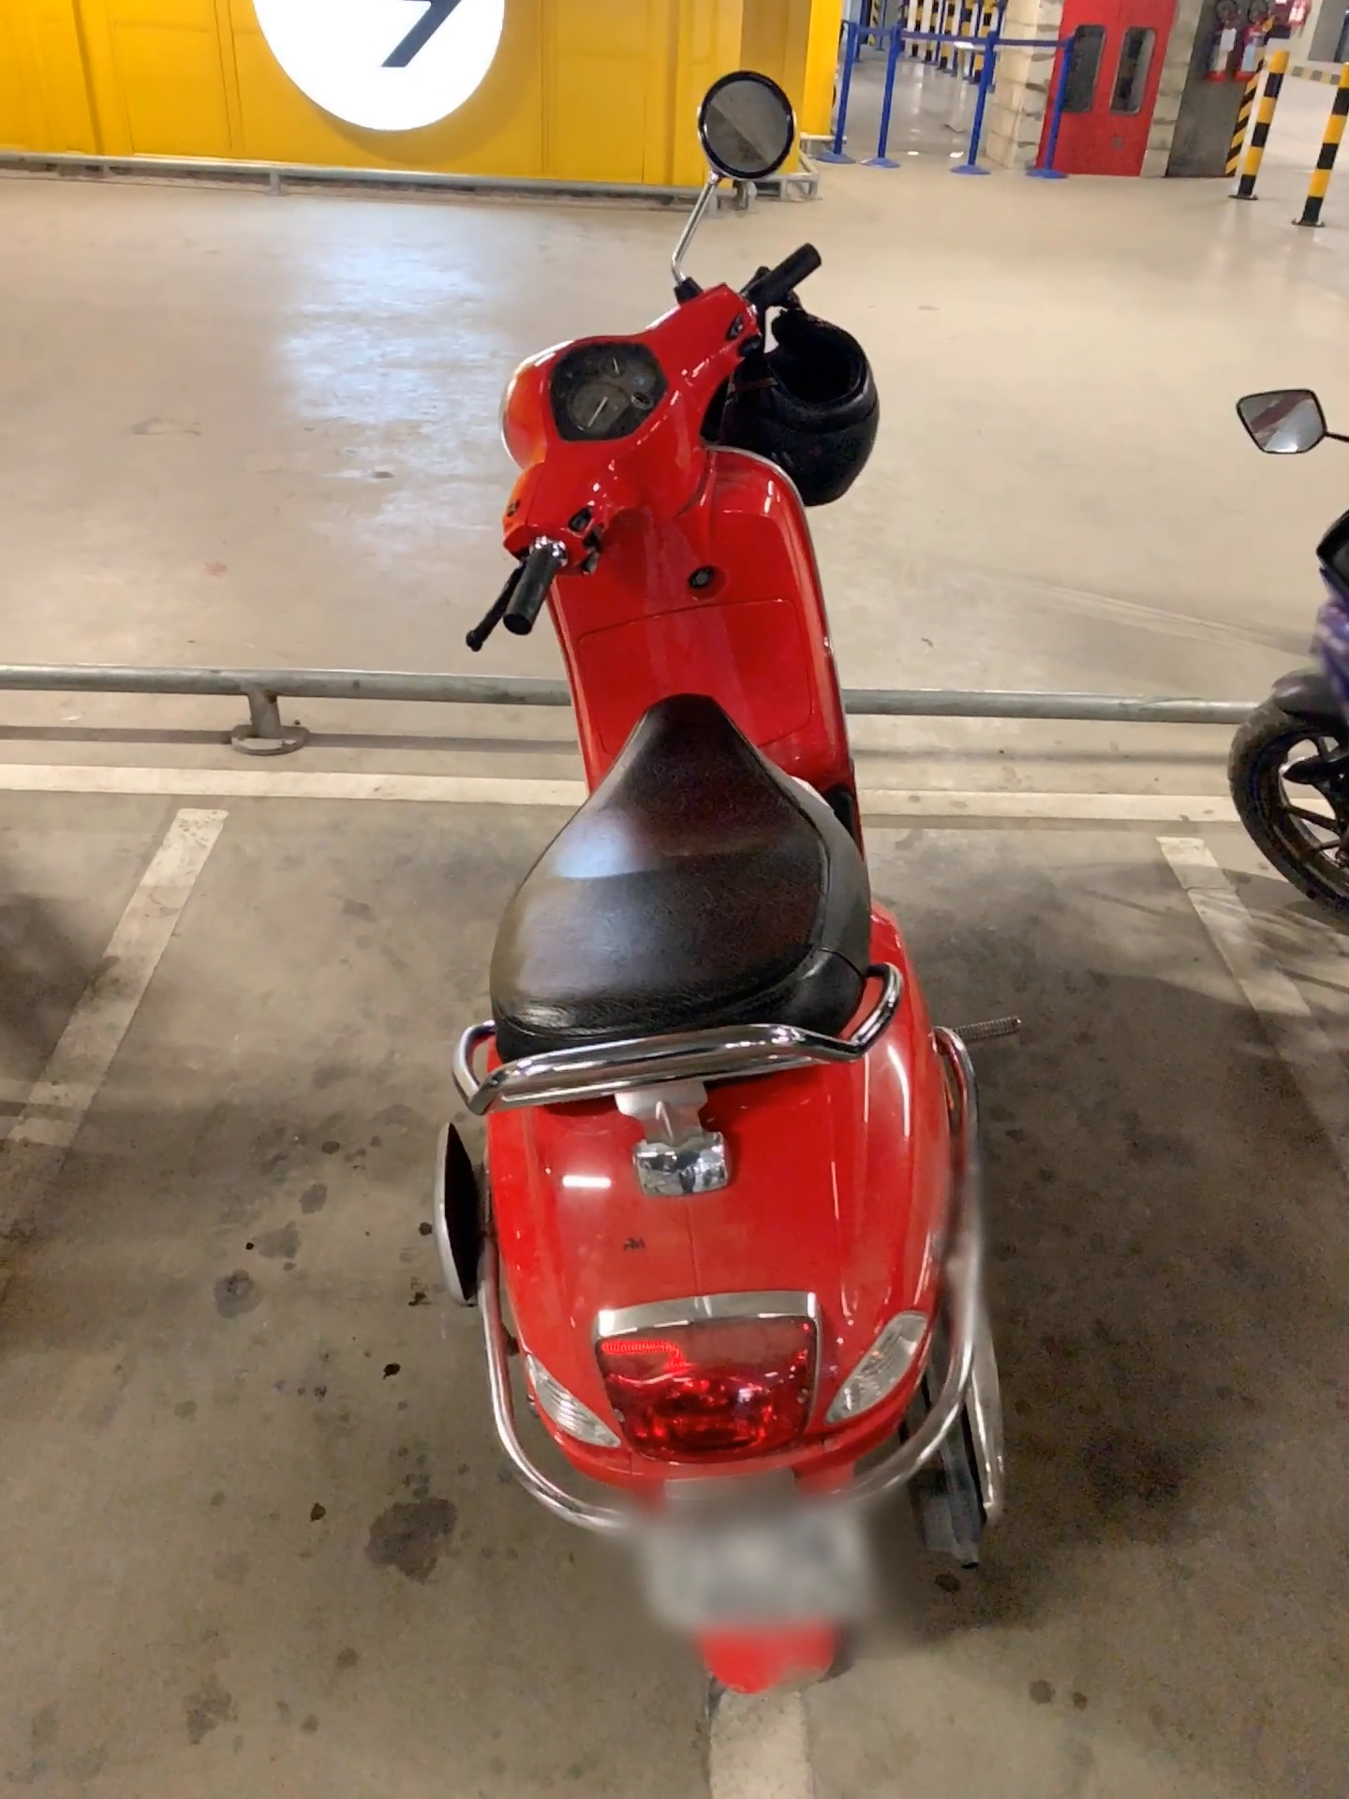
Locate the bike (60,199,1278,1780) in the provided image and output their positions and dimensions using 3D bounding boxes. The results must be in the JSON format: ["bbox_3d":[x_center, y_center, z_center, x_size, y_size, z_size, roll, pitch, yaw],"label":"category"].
[{"bbox_3d":[-0.124,-0.089,1.740,0.632,1.201,1.687,-2,34,-7],"label":"bike"}]
